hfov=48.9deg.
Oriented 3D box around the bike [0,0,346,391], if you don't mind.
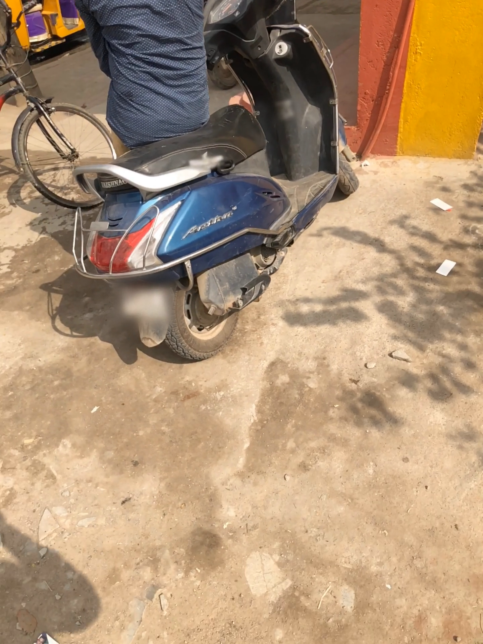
[{"bbox_3d":[-0.099,-0.778,2.307,0.624,1.188,1.643,14,45,20],"label":"bike"}]
